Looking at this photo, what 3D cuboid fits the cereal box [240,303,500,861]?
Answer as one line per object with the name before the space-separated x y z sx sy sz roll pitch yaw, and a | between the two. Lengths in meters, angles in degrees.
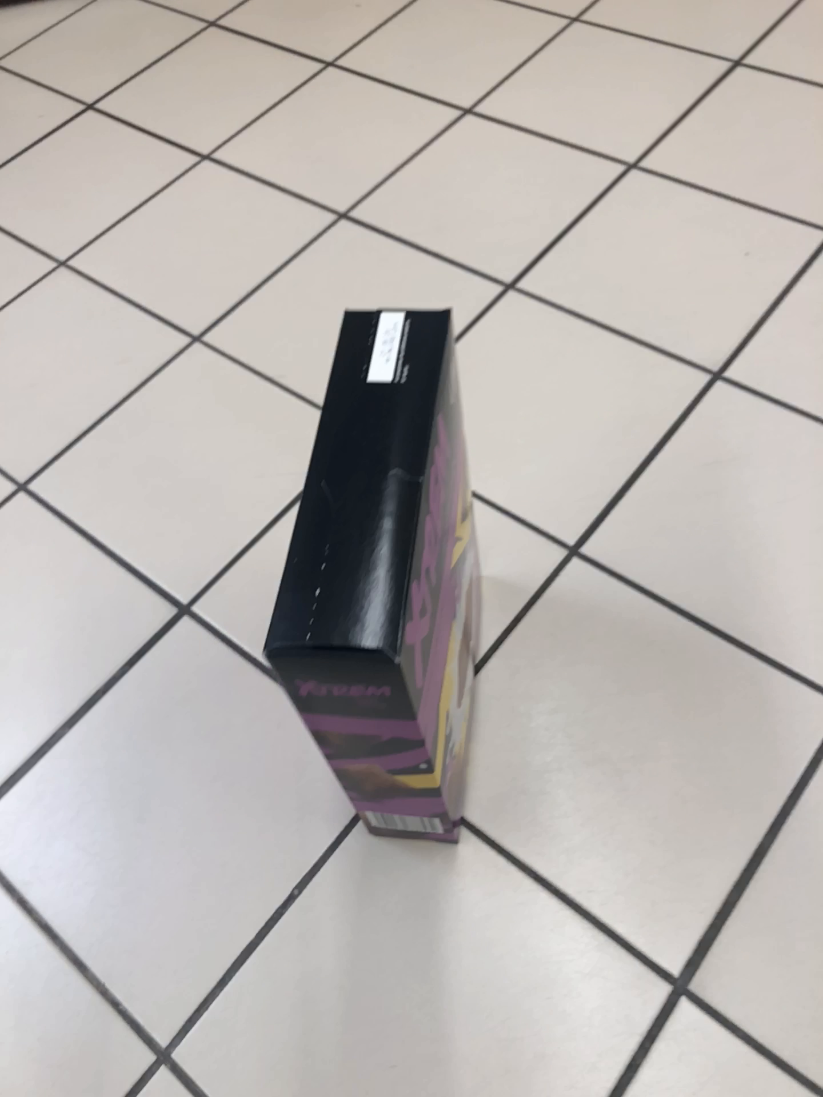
cereal box | -0.001 0.030 0.488 0.070 0.239 0.201 2 57 10
